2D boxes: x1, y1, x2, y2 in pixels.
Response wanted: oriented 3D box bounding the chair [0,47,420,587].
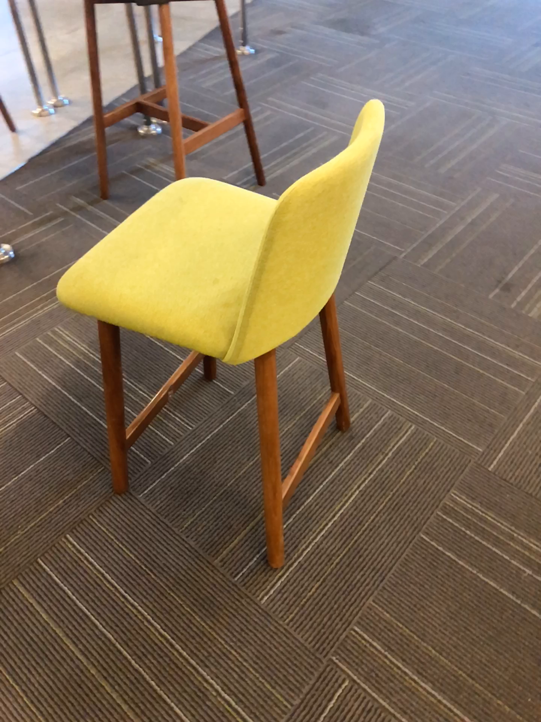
[{"bbox_3d":[-0.086,-0.052,1.195,0.511,0.876,0.461,18,48,19],"label":"chair"}]
